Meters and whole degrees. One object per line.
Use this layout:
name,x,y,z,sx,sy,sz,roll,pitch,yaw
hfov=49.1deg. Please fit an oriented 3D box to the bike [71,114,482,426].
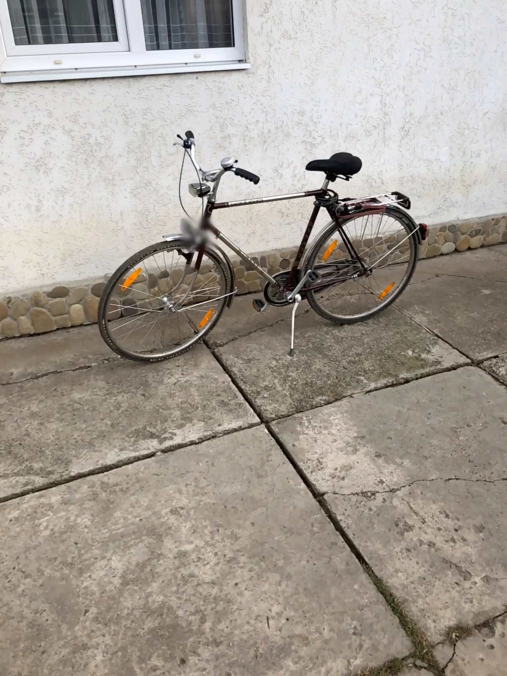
bike,0.129,-0.405,2.649,1.712,1.054,0.599,-13,30,-19
